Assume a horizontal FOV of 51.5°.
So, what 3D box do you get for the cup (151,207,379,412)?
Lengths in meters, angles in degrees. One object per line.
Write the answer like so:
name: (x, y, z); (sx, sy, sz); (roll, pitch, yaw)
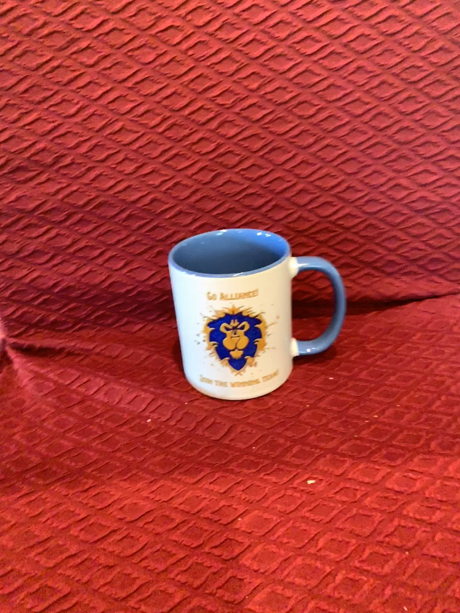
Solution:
cup: (0.023, -0.002, 0.339); (0.130, 0.099, 0.101); (-4, 29, 2)
